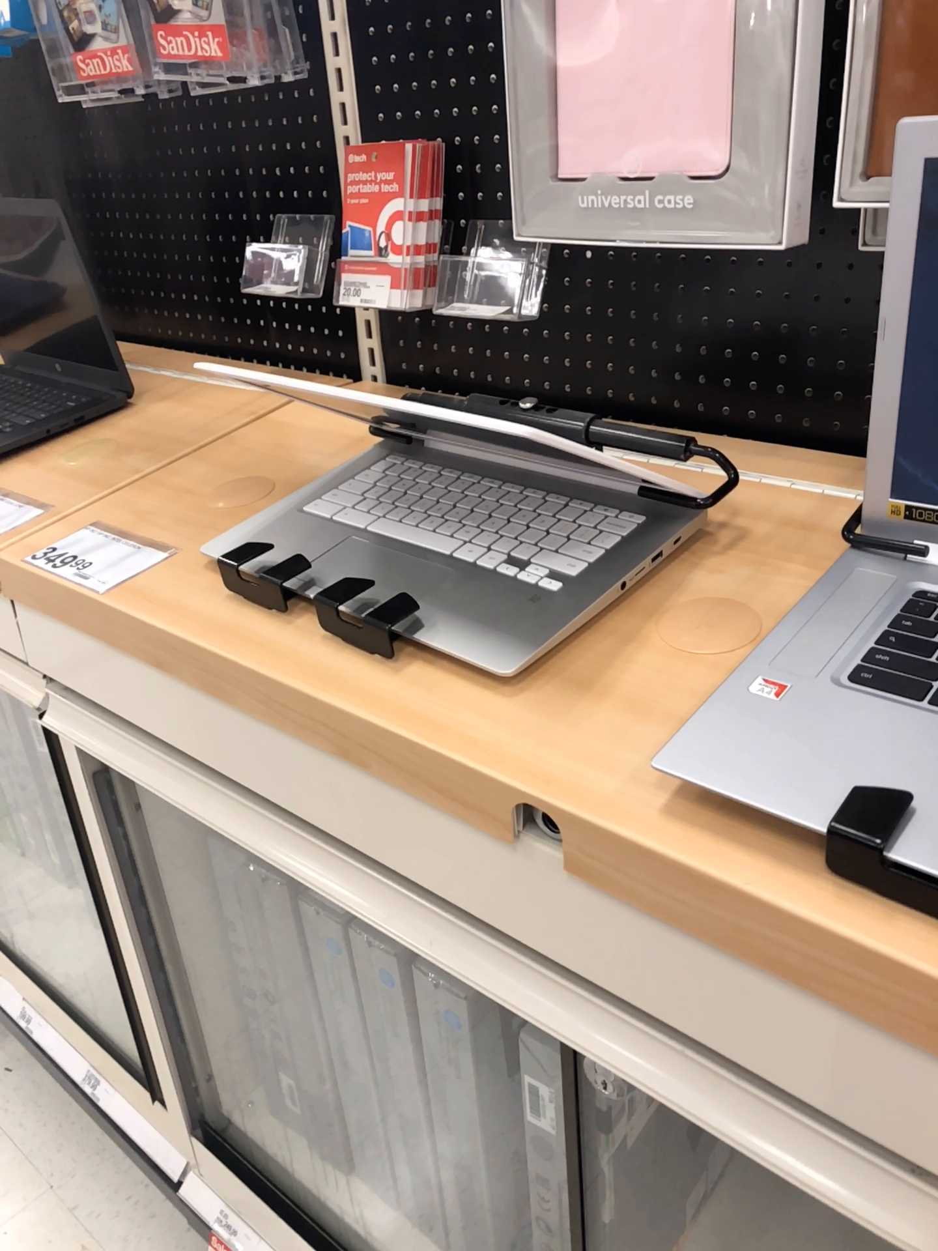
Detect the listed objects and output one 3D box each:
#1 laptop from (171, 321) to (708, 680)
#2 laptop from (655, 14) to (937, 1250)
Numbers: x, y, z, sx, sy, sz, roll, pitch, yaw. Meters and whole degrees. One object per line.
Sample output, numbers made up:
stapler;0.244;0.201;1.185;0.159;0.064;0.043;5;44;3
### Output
laptop;-0.030;-0.116;0.742;0.331;0.100;0.215;21;45;40
laptop;0.310;-0.060;0.410;0.389;0.244;0.273;17;38;37
